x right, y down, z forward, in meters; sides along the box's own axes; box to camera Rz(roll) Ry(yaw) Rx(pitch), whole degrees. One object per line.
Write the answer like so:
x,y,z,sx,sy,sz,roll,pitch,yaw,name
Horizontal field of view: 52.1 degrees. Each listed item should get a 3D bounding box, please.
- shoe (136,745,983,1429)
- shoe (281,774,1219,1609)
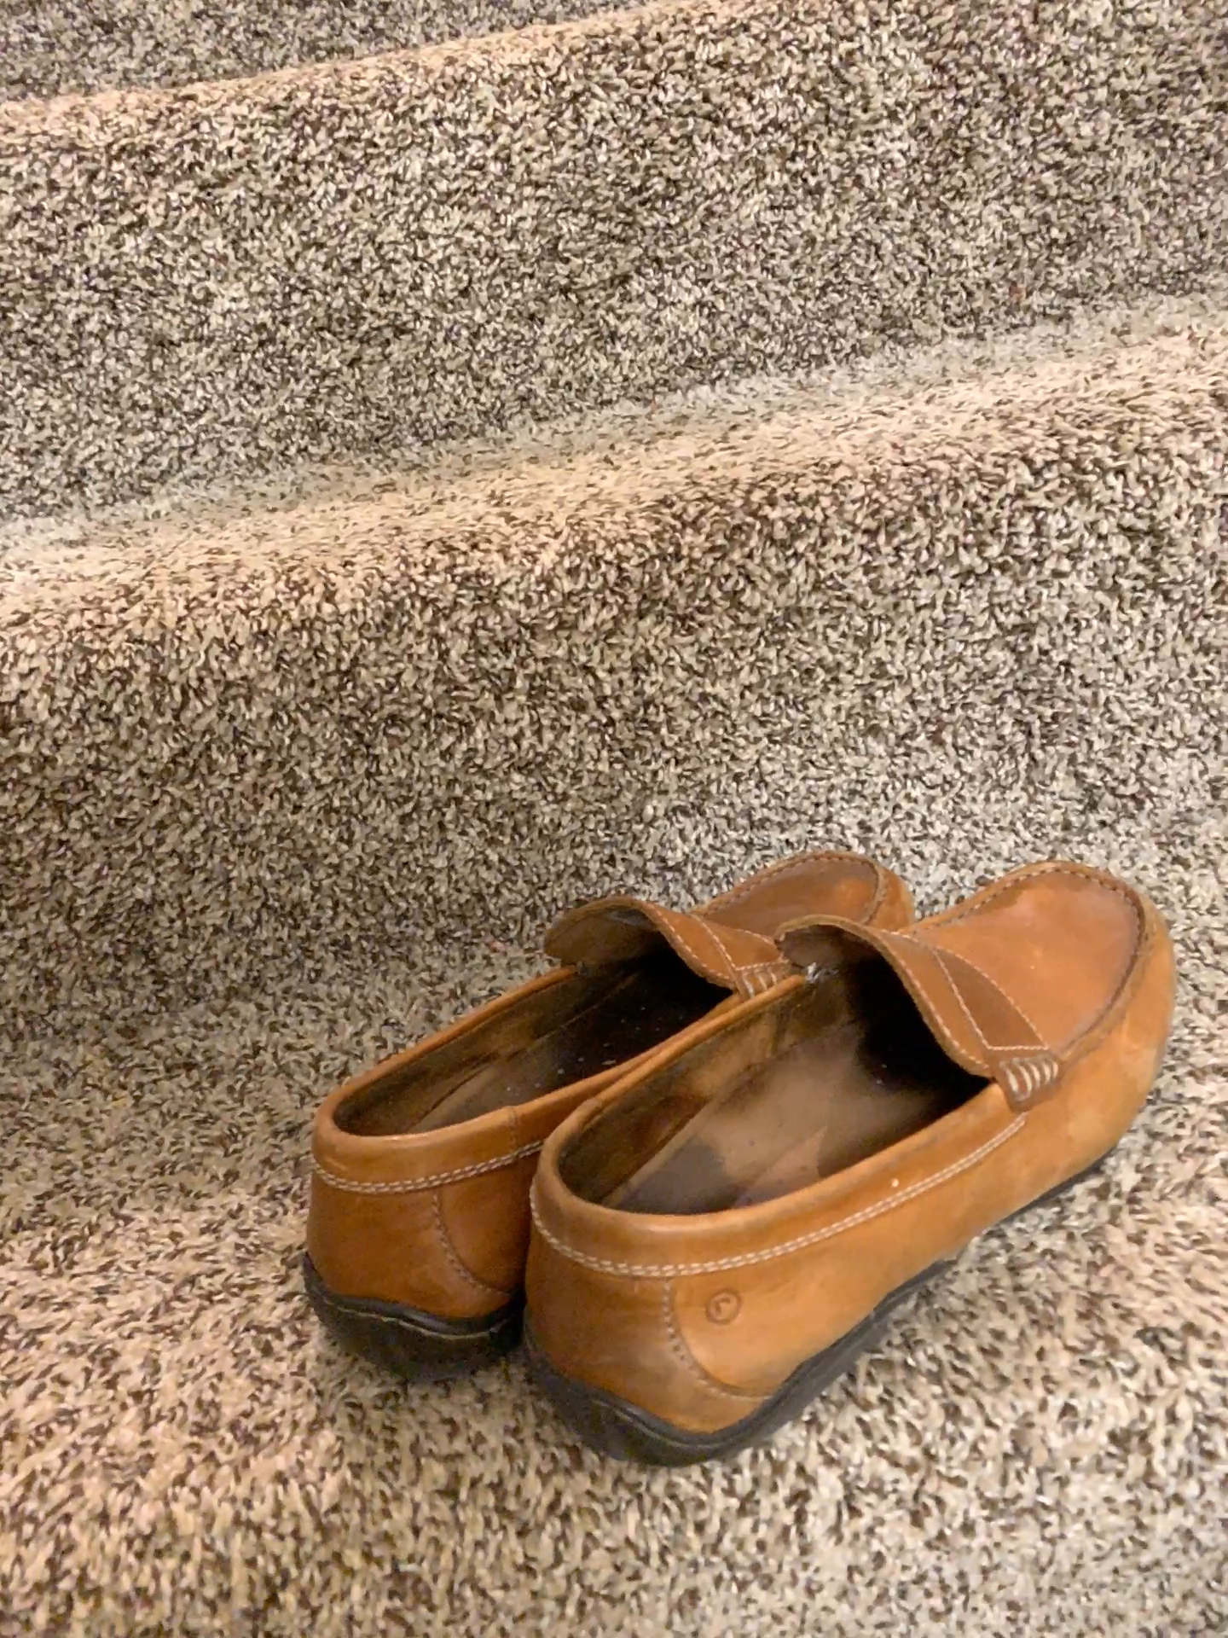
0.000,0.064,0.422,0.280,0.070,0.090,-27,29,-33,shoe
0.058,0.080,0.390,0.280,0.070,0.120,-27,29,-33,shoe
